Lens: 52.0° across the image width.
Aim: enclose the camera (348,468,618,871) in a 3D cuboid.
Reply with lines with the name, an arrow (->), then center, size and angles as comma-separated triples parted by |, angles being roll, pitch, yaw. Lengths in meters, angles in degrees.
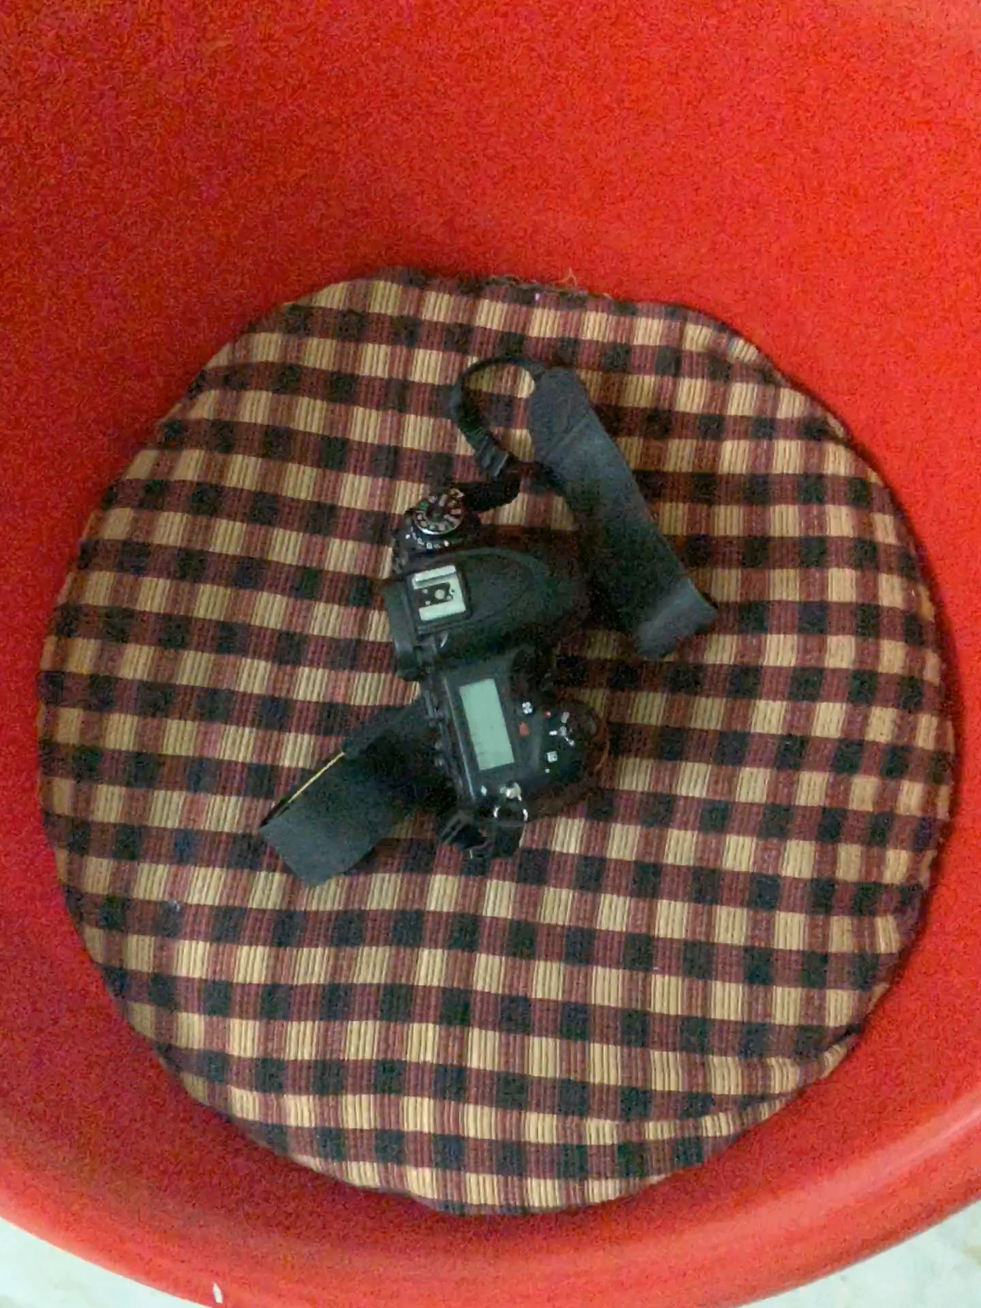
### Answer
camera -> -0.003, 0.009, 0.419 | 0.080, 0.090, 0.140 | -9, 83, 0
